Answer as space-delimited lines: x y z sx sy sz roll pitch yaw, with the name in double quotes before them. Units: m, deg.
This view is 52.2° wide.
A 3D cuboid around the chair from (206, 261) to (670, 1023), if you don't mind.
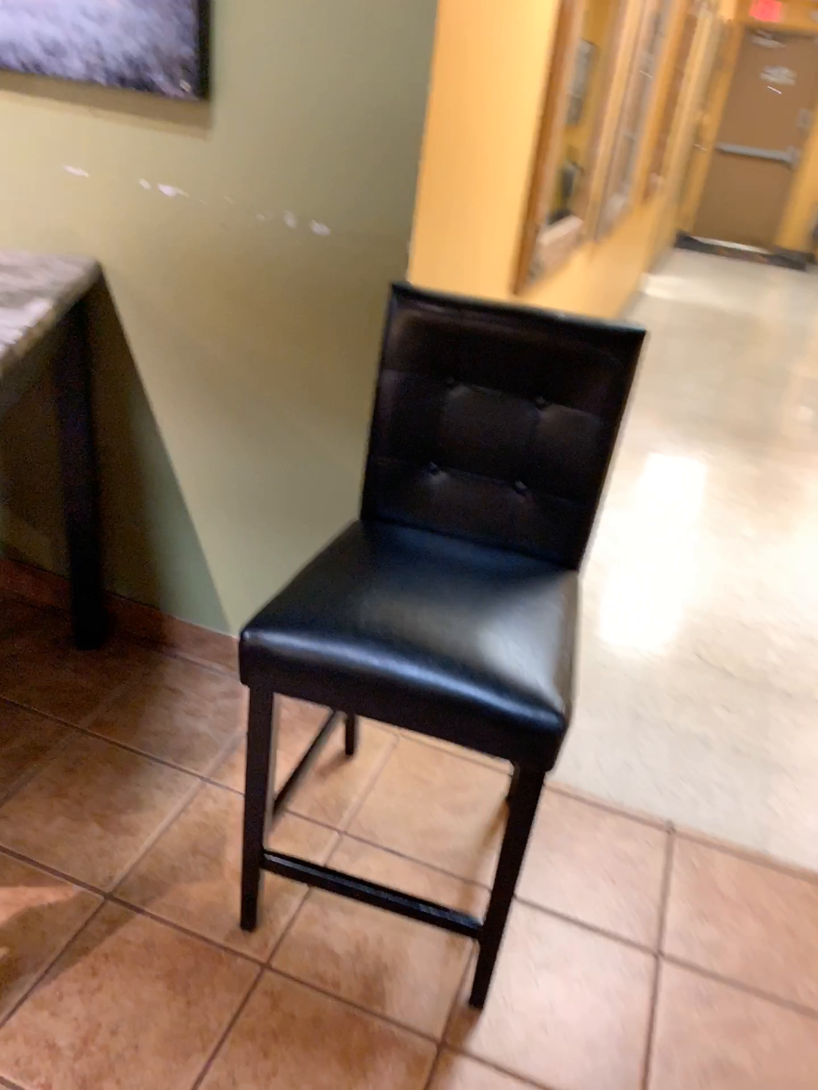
"chair" 0.046 0.122 1.363 0.498 0.961 0.621 13 29 11
